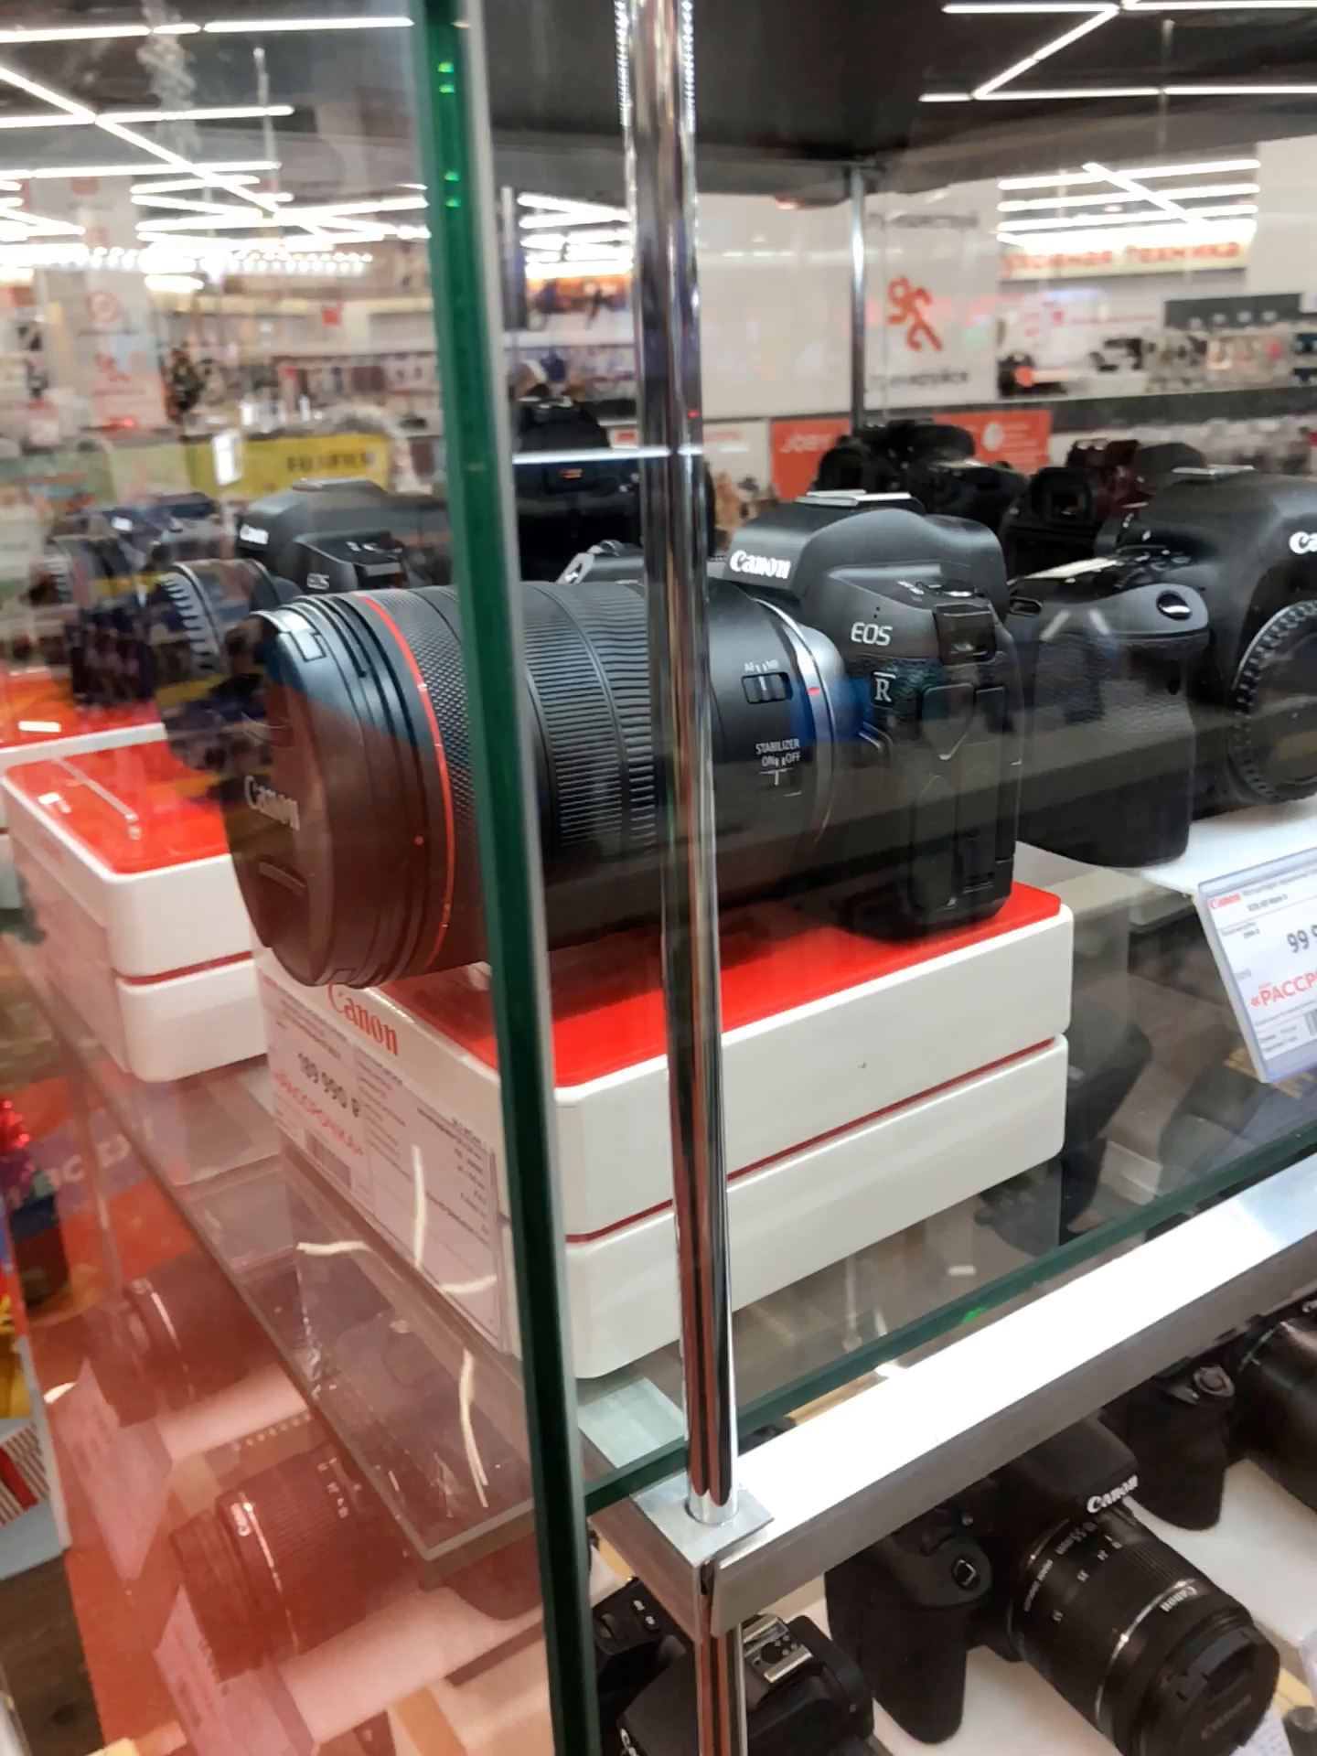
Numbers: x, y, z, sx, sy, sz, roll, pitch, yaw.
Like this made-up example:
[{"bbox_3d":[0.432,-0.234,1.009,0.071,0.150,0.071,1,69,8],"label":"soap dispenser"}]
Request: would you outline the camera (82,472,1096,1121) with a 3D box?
[{"bbox_3d":[-0.017,-0.039,0.344,0.180,0.093,0.145,-14,22,-32],"label":"camera"}]
